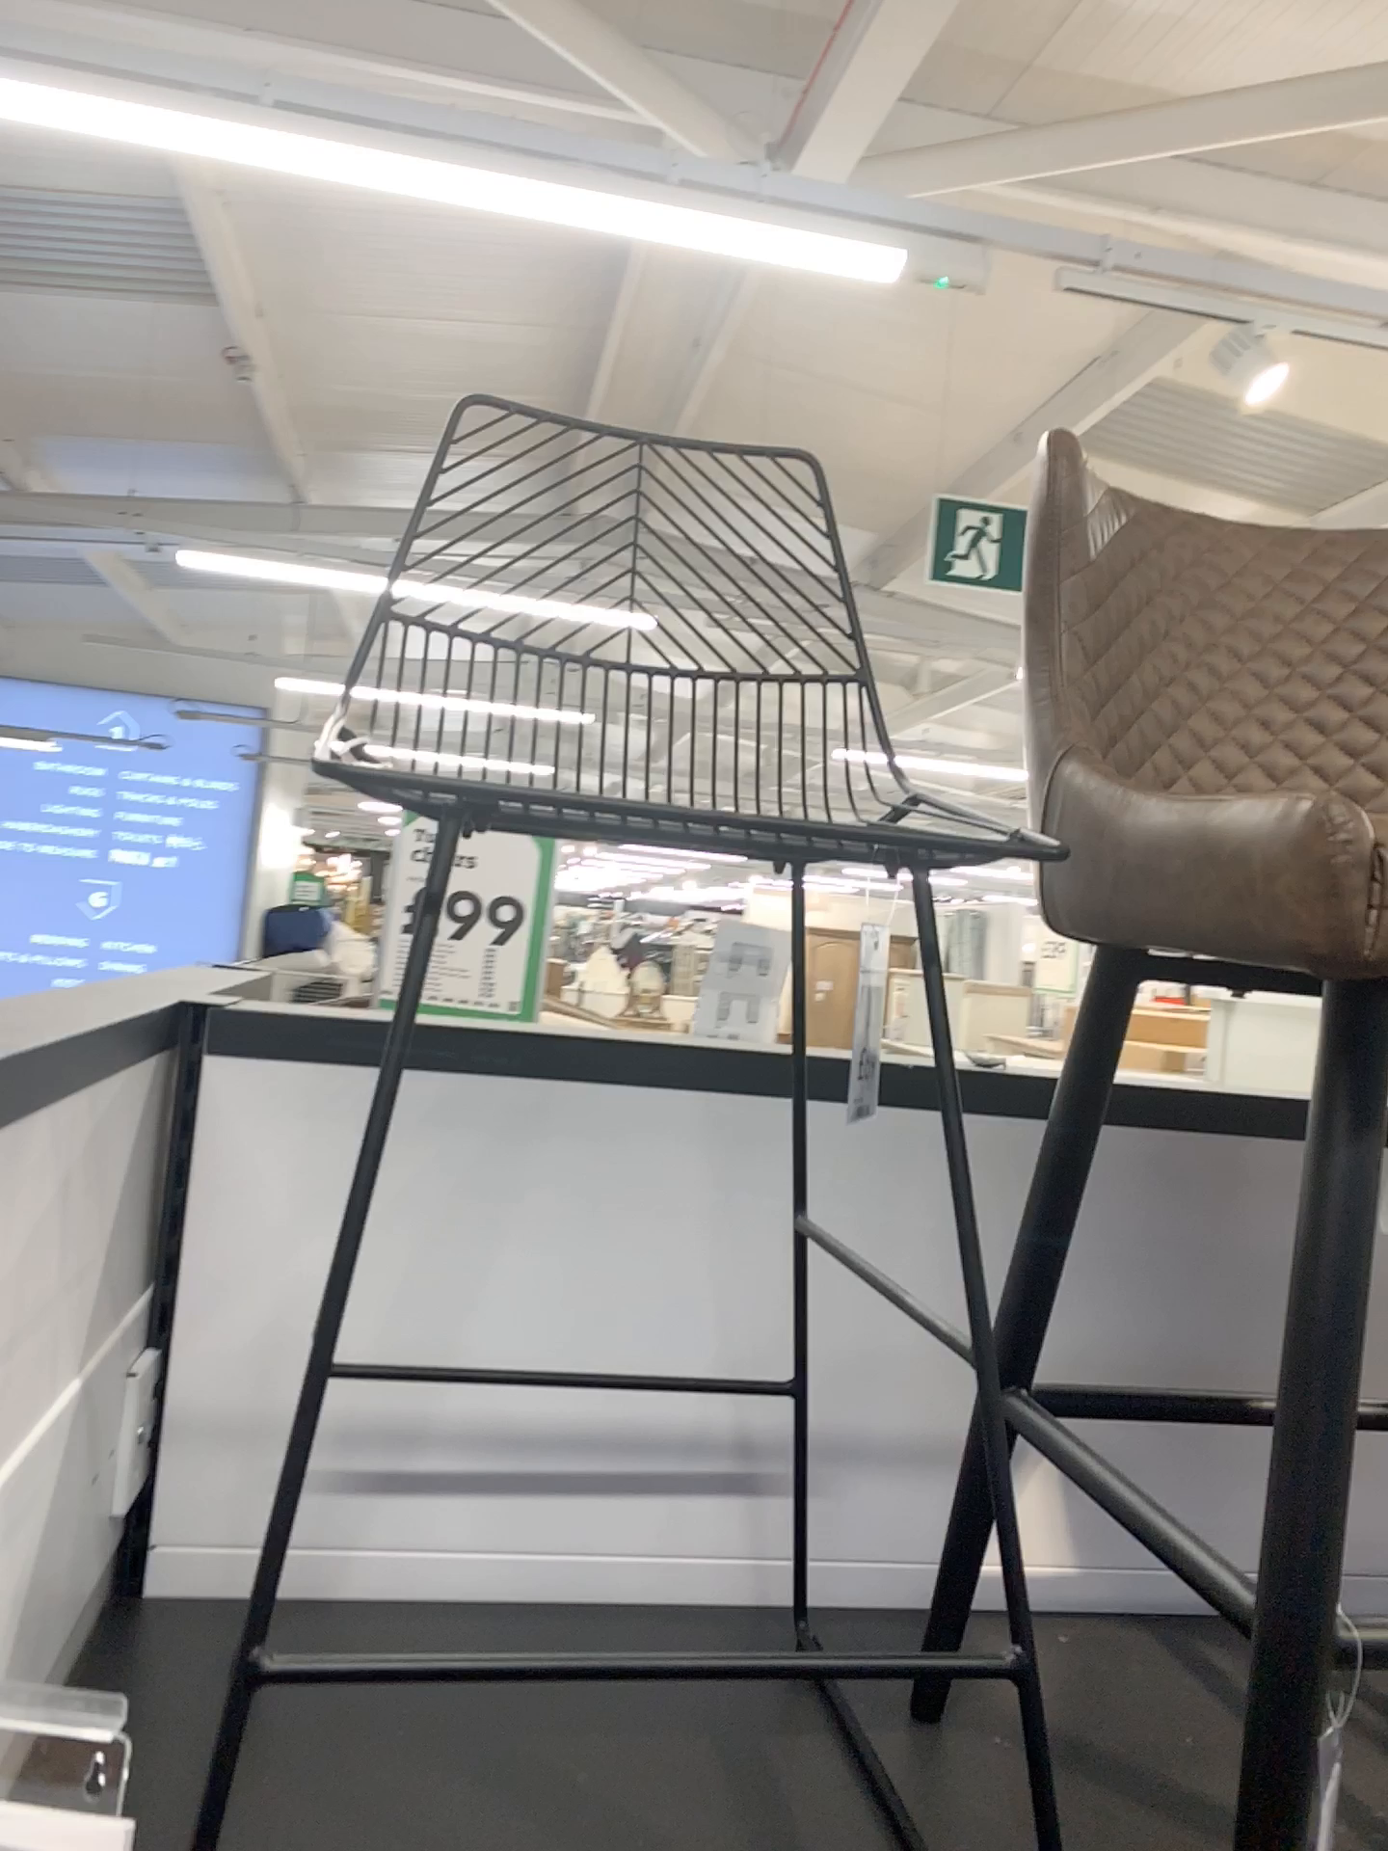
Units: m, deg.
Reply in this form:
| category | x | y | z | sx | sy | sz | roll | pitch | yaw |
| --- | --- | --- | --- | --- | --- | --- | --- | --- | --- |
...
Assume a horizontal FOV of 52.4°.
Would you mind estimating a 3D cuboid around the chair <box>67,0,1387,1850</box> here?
| category | x | y | z | sx | sy | sz | roll | pitch | yaw |
| --- | --- | --- | --- | --- | --- | --- | --- | --- | --- |
| chair | -0.001 | 0.068 | 0.876 | 0.508 | 0.968 | 0.528 | 6 | 0 | -11 |
